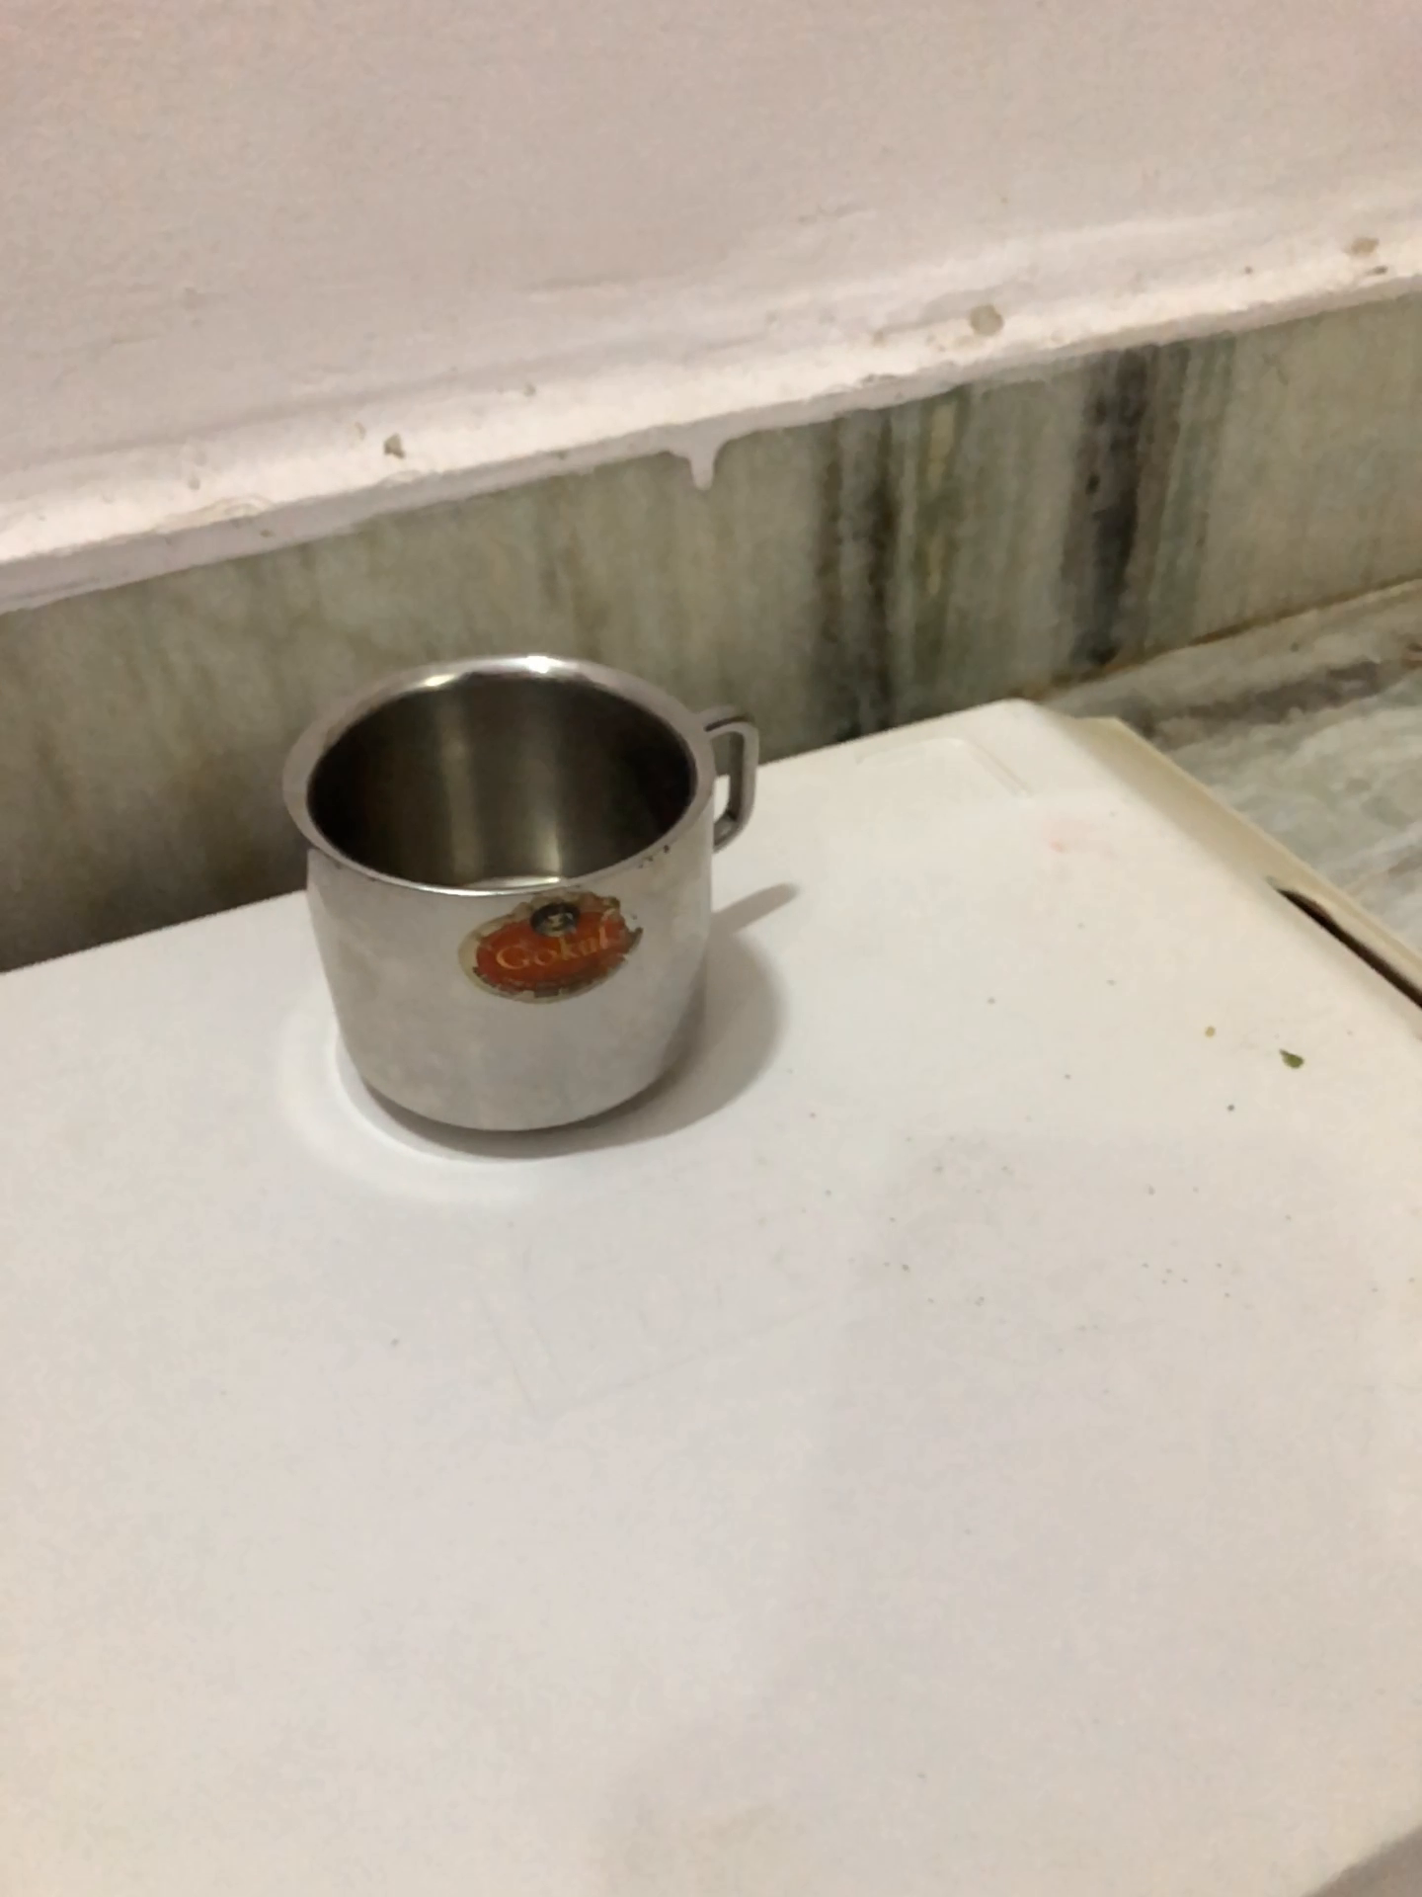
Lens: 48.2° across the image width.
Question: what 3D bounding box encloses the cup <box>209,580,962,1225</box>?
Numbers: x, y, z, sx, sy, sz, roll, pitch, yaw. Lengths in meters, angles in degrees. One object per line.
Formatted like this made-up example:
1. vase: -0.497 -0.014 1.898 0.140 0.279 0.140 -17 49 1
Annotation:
1. cup: -0.022 -0.015 0.285 0.100 0.050 0.080 -24 46 -27
